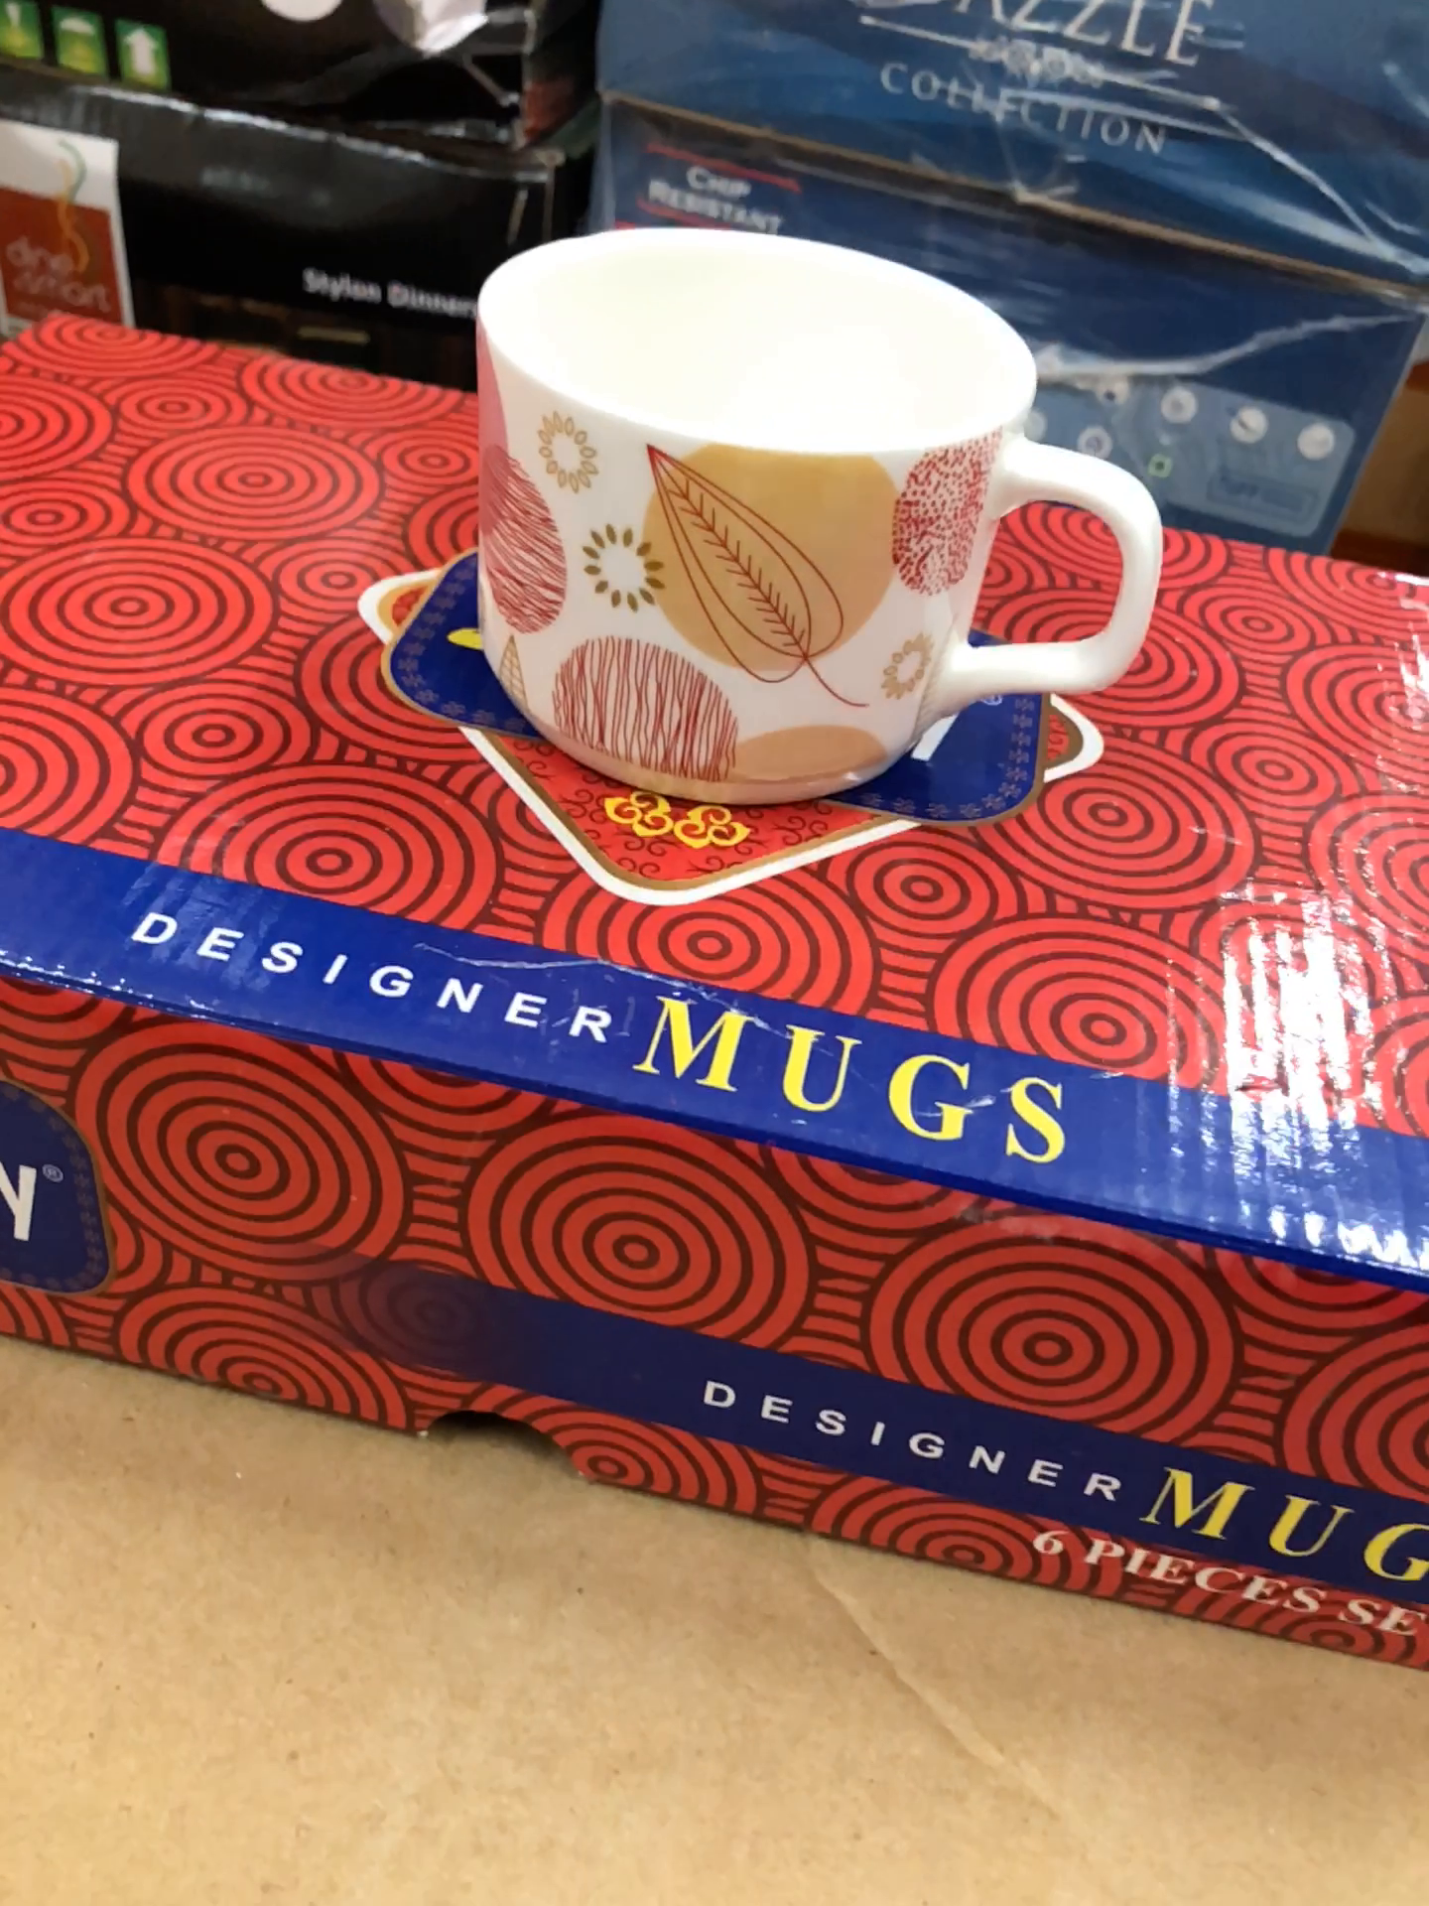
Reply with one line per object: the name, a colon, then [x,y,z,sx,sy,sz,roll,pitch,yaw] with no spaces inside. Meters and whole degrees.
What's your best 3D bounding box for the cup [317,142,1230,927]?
cup: [0.009,-0.055,0.197,0.090,0.050,0.071,17,41,7]
